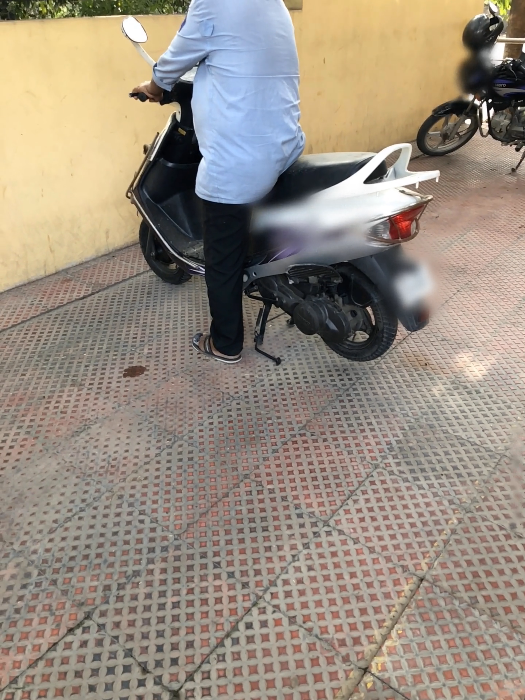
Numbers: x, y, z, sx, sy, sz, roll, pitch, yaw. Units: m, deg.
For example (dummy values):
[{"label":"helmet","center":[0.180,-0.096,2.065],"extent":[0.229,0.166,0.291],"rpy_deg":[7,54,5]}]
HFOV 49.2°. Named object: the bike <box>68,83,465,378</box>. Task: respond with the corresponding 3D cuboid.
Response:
[{"label":"bike","center":[-0.092,-0.636,2.465],"extent":[0.602,0.816,1.610],"rpy_deg":[-28,39,-36]}]
